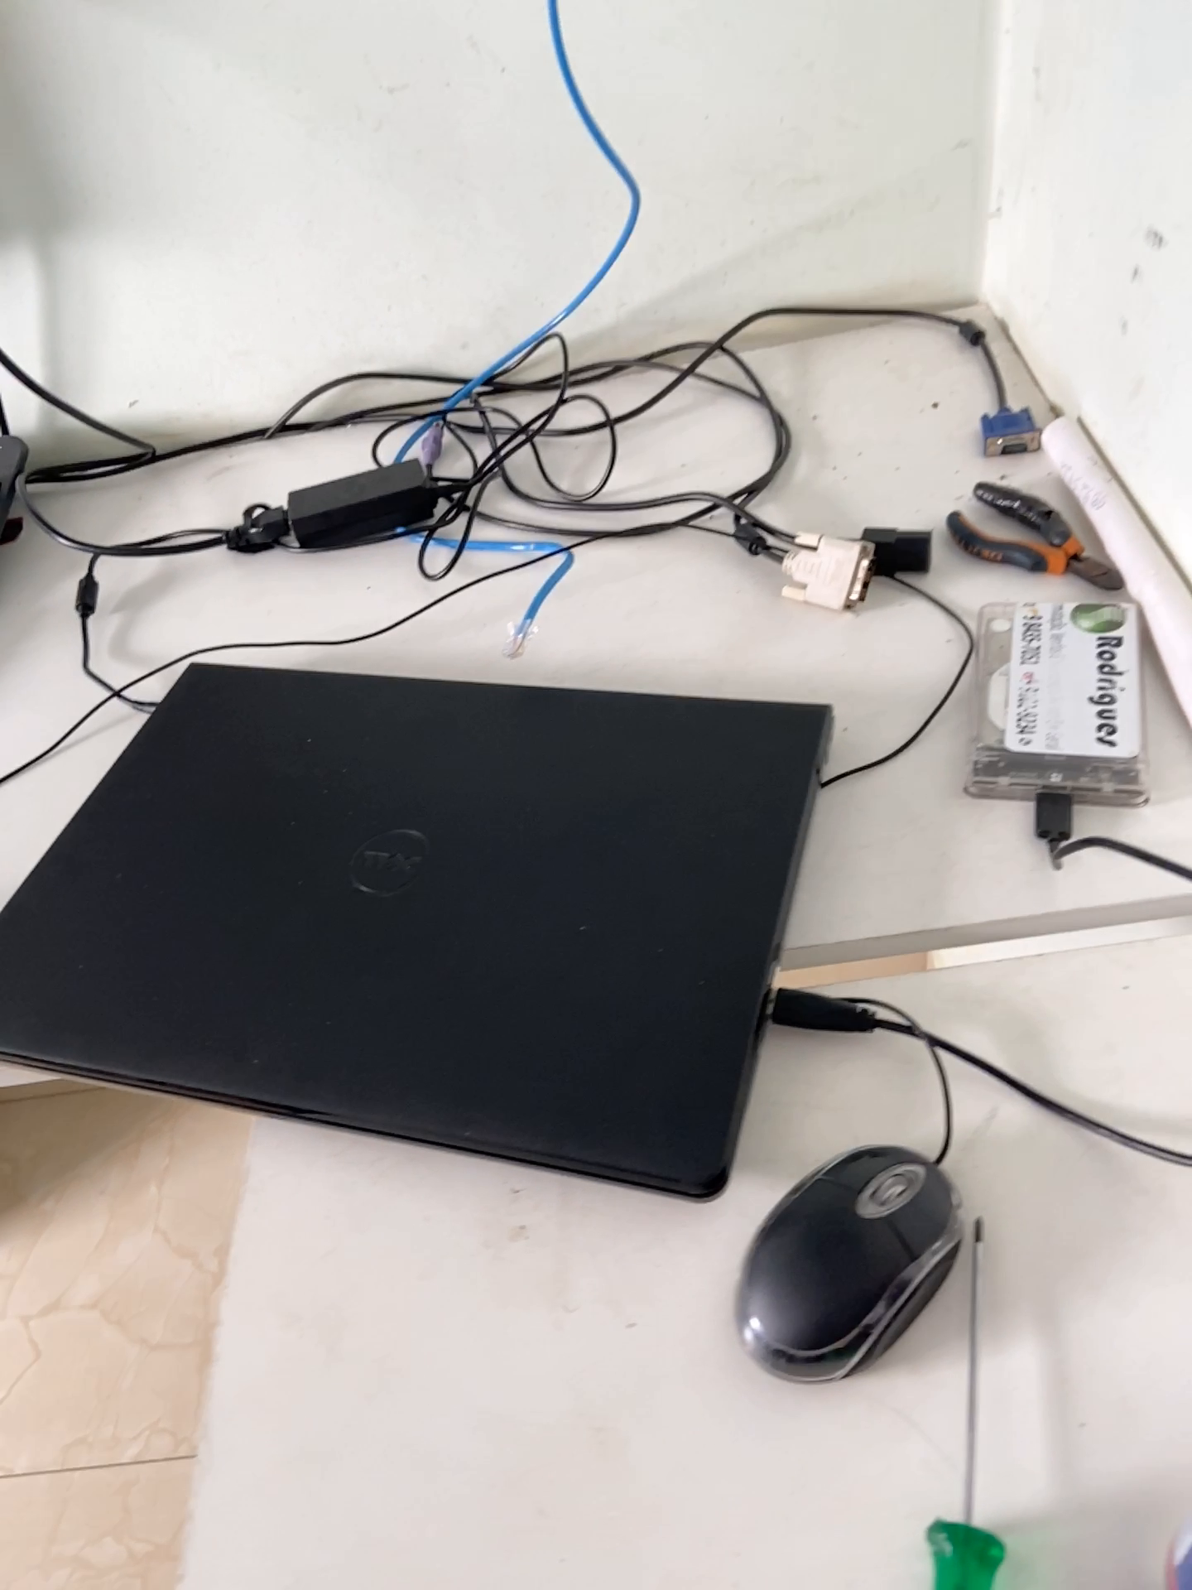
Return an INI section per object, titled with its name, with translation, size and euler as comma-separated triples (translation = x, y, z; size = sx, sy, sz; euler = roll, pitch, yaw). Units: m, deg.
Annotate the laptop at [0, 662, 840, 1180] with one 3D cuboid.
[laptop]
translation = -0.094, 0.031, 0.584
size = 0.376, 0.003, 0.261
euler = 6, 47, 18
